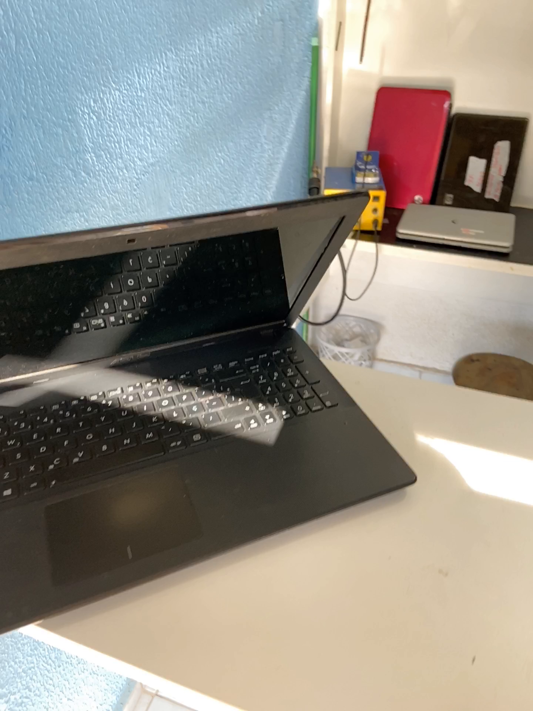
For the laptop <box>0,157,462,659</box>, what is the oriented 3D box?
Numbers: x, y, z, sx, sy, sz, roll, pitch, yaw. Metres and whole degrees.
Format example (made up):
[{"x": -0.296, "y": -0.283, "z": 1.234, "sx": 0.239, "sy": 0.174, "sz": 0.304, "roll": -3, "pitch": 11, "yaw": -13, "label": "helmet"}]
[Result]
[{"x": -0.095, "y": -0.003, "z": 0.425, "sx": 0.373, "sy": 0.190, "sz": 0.240, "roll": -13, "pitch": 37, "yaw": -18, "label": "laptop"}]
